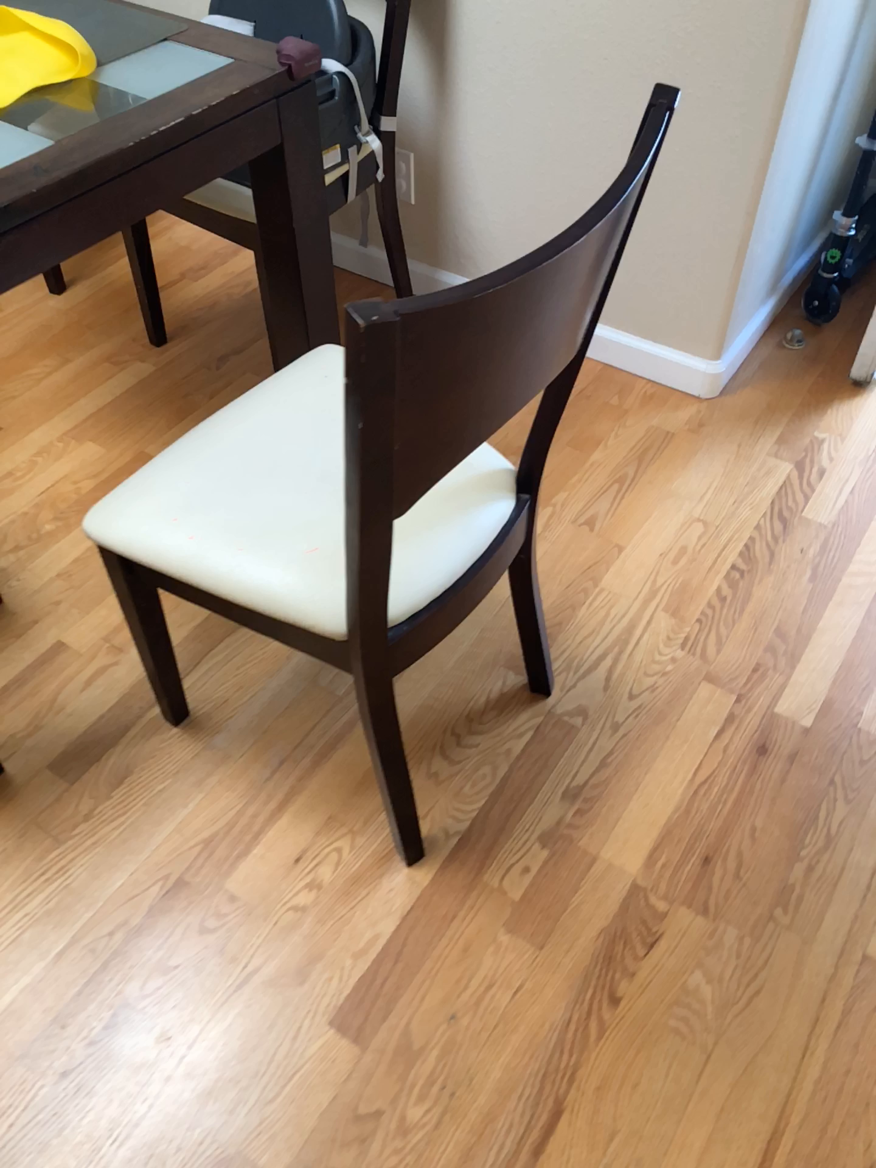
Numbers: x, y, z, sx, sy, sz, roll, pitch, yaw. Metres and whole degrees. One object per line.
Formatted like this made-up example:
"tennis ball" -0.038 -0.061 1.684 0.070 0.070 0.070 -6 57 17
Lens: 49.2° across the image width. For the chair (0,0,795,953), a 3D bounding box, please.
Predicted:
"chair" -0.061 -0.113 1.254 0.591 0.995 0.562 29 54 25
